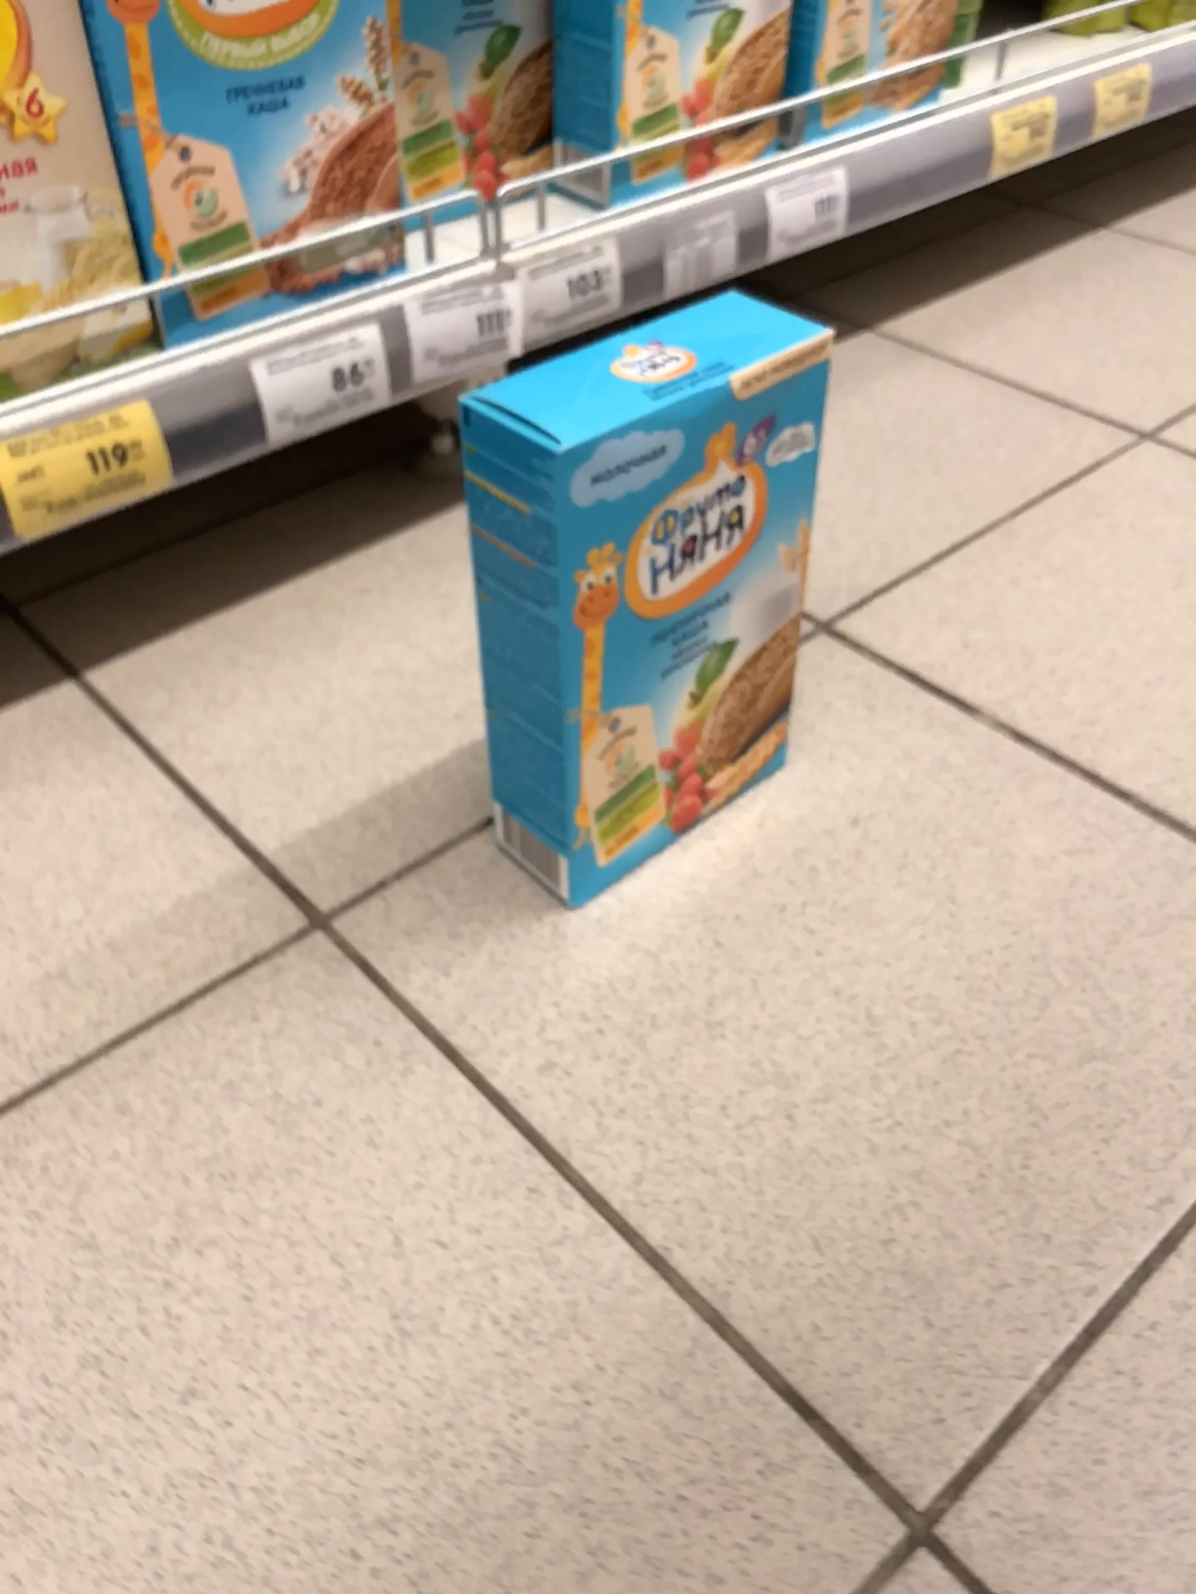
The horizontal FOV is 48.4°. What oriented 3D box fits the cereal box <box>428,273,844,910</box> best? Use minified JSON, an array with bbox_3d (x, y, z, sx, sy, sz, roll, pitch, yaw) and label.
[{"bbox_3d":[0.017,-0.077,0.517,0.140,0.199,0.060,-33,51,-31],"label":"cereal box"}]
